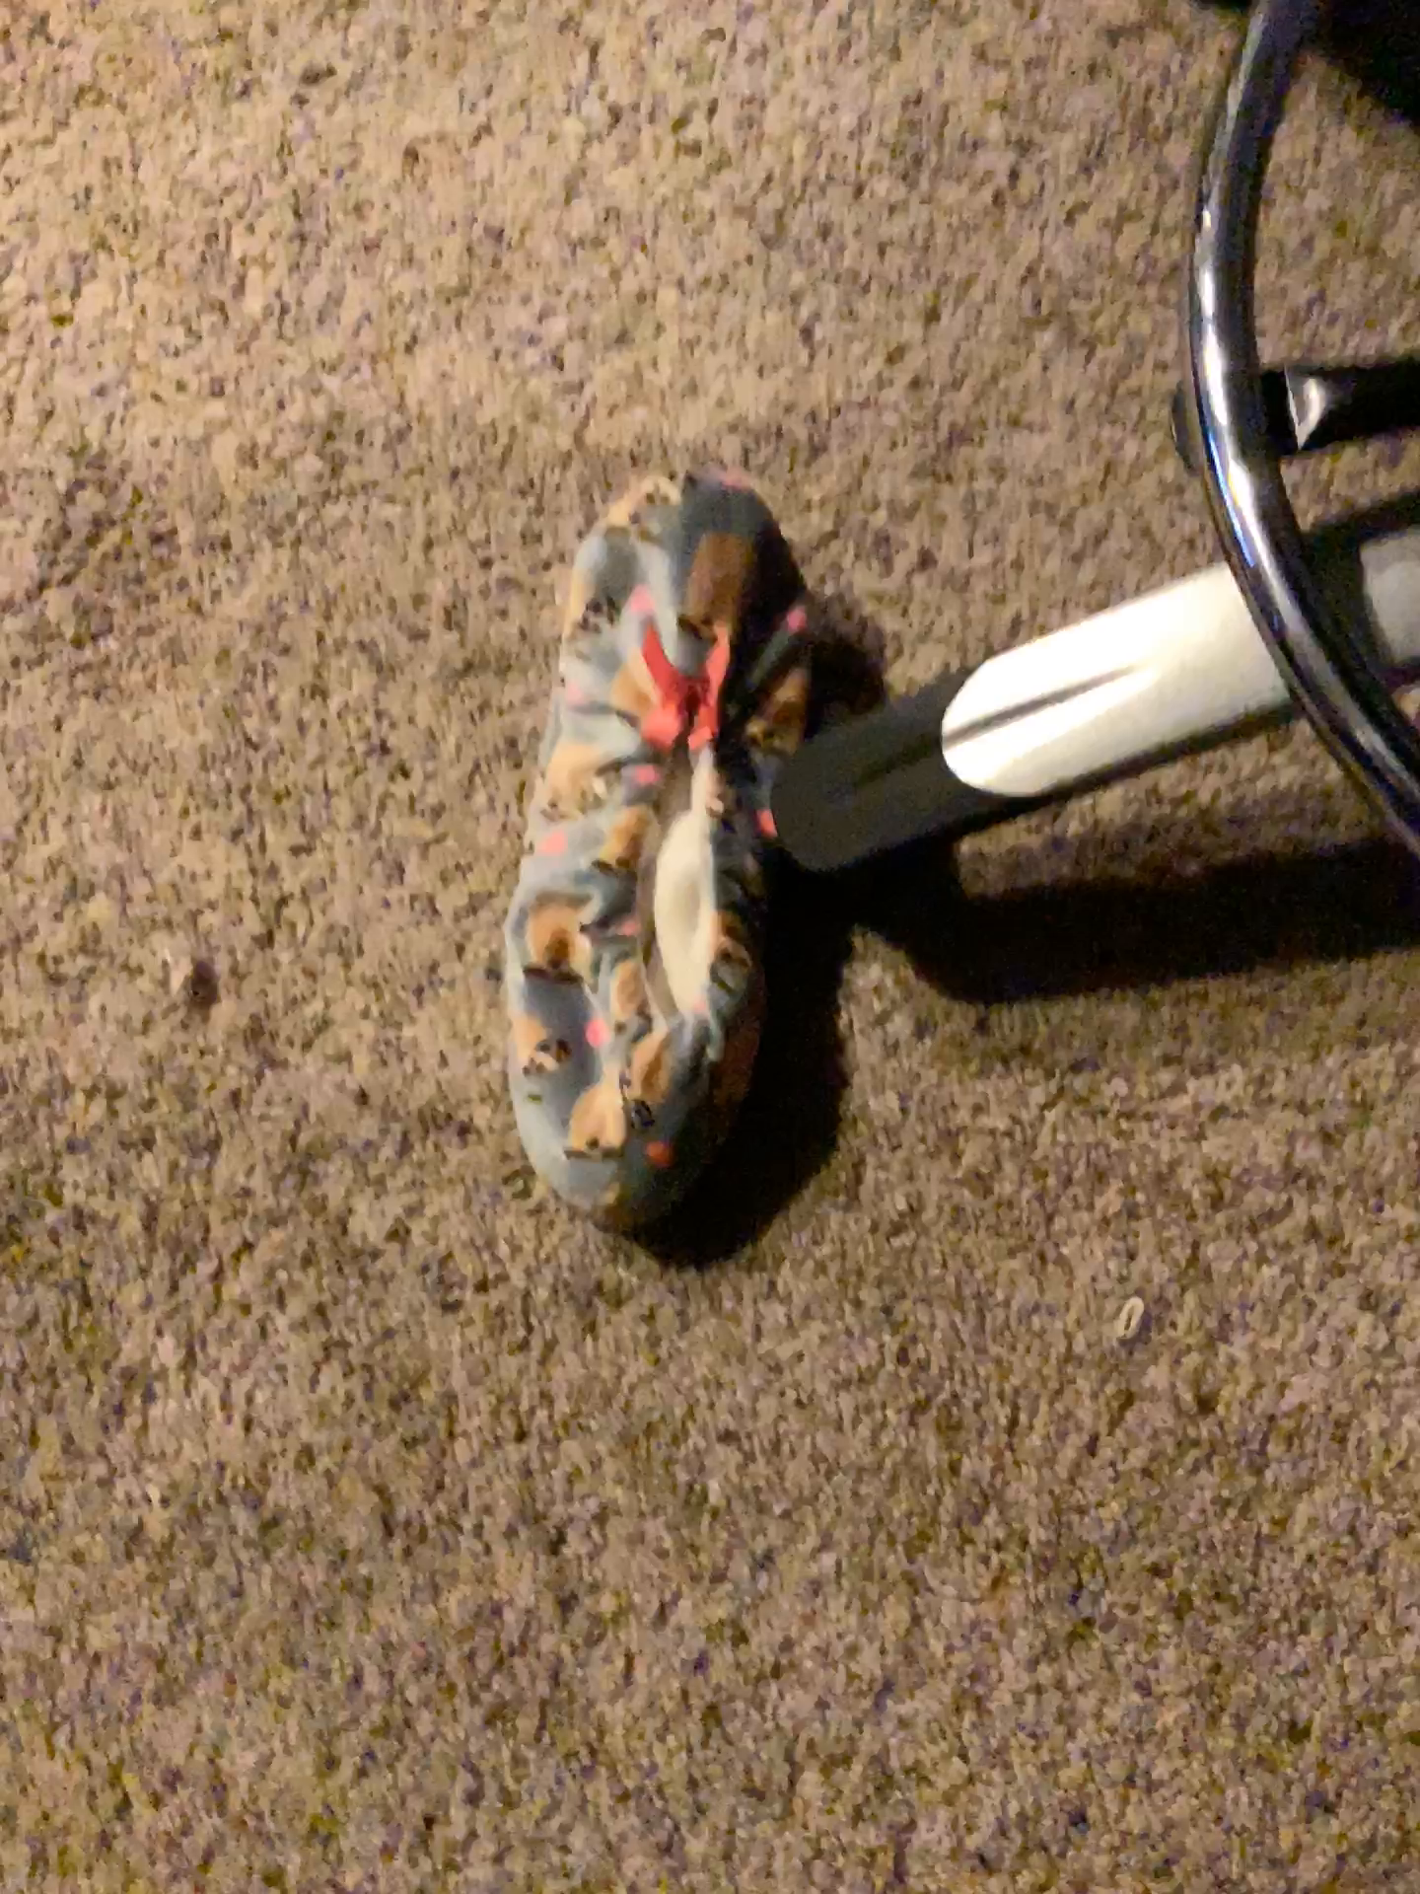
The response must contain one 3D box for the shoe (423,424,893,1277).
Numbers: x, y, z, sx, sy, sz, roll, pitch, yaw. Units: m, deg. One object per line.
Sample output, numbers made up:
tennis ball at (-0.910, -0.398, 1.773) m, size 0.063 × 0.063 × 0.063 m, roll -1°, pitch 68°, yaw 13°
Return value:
shoe at (-0.009, -0.031, 0.509) m, size 0.120 × 0.070 × 0.260 m, roll 2°, pitch 78°, yaw 9°
